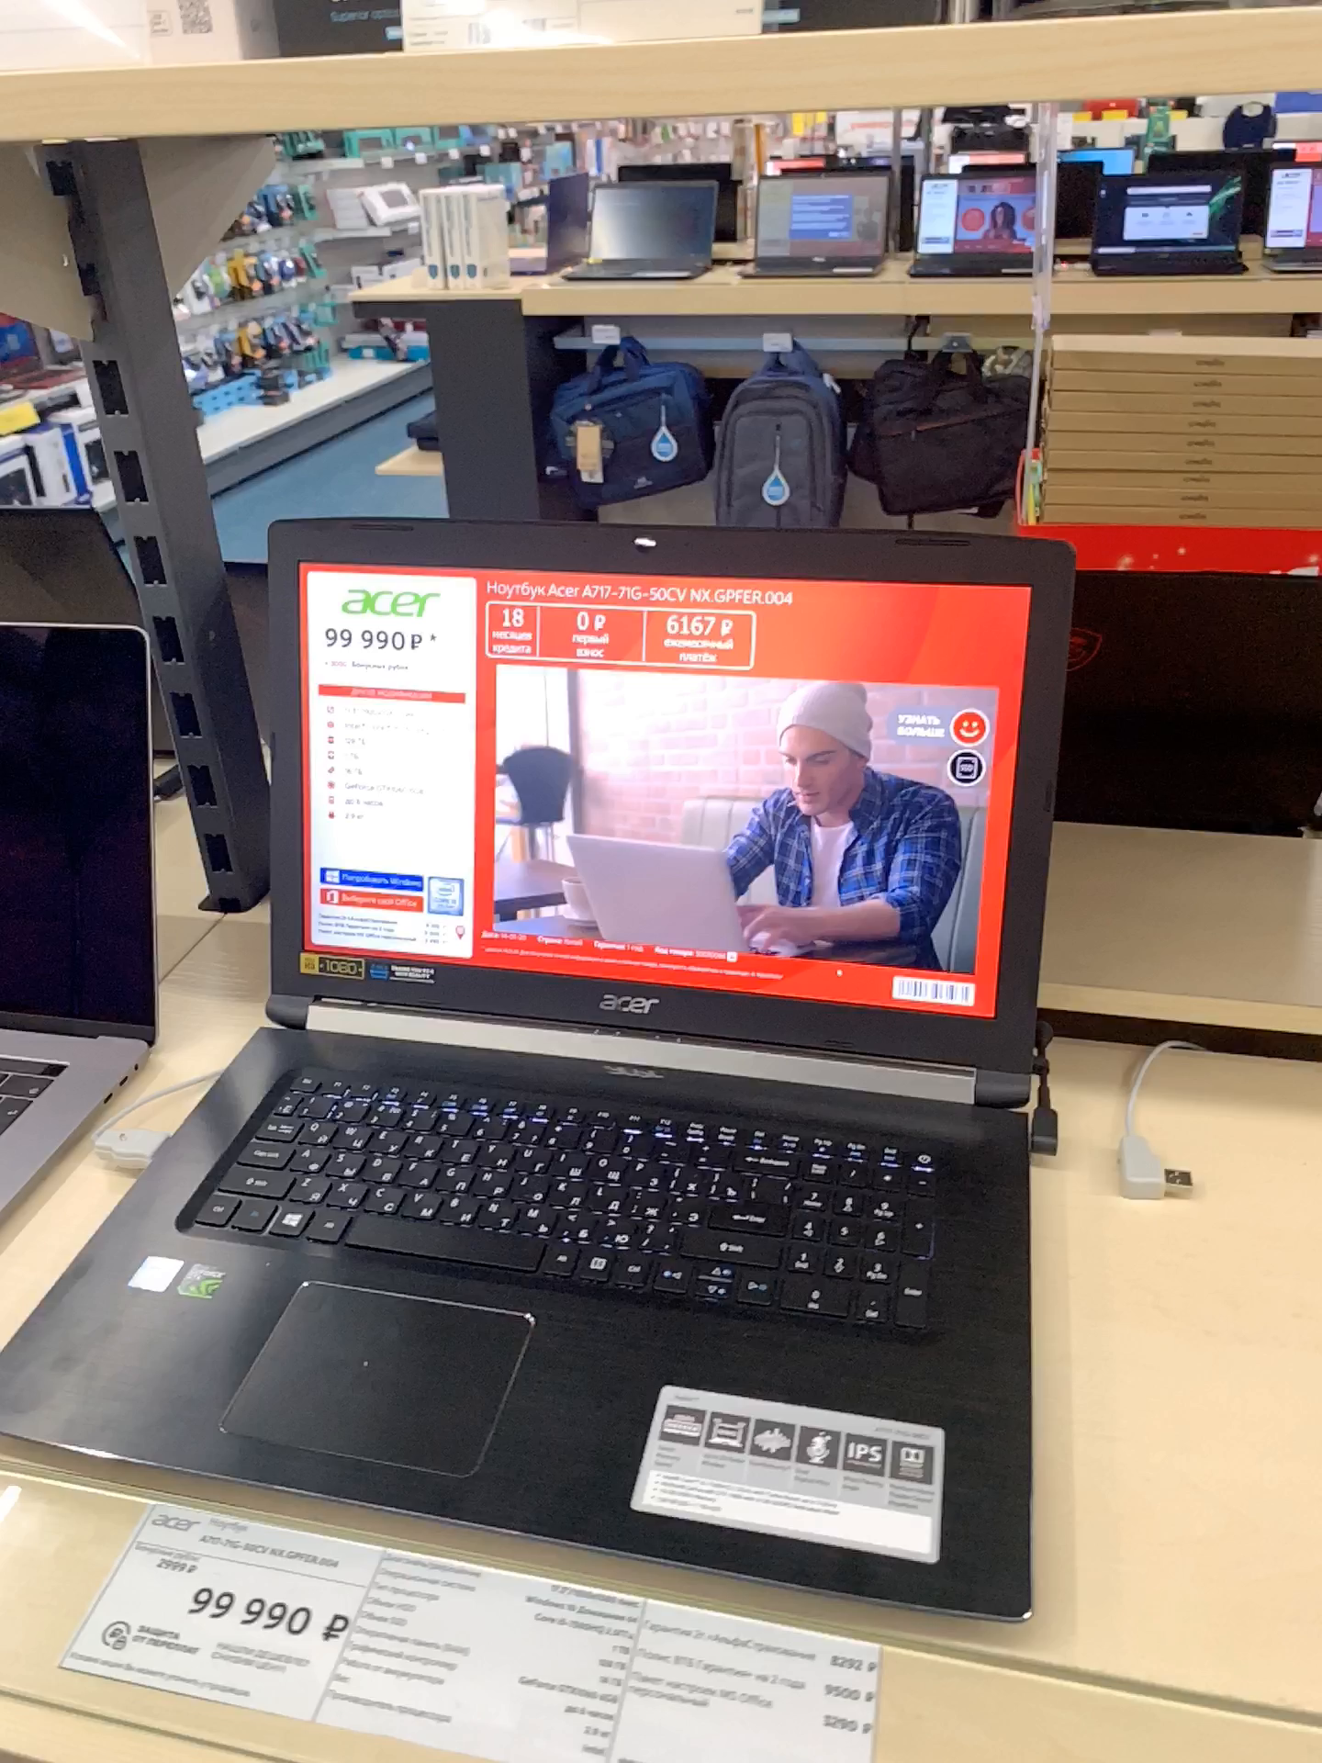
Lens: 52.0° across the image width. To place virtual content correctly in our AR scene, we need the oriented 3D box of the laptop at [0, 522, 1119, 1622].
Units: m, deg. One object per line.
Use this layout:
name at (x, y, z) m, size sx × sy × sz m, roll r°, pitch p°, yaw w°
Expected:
laptop at (-0.045, 0.028, 0.580) m, size 0.406 × 0.248 × 0.364 m, roll 5°, pitch 31°, yaw 12°
